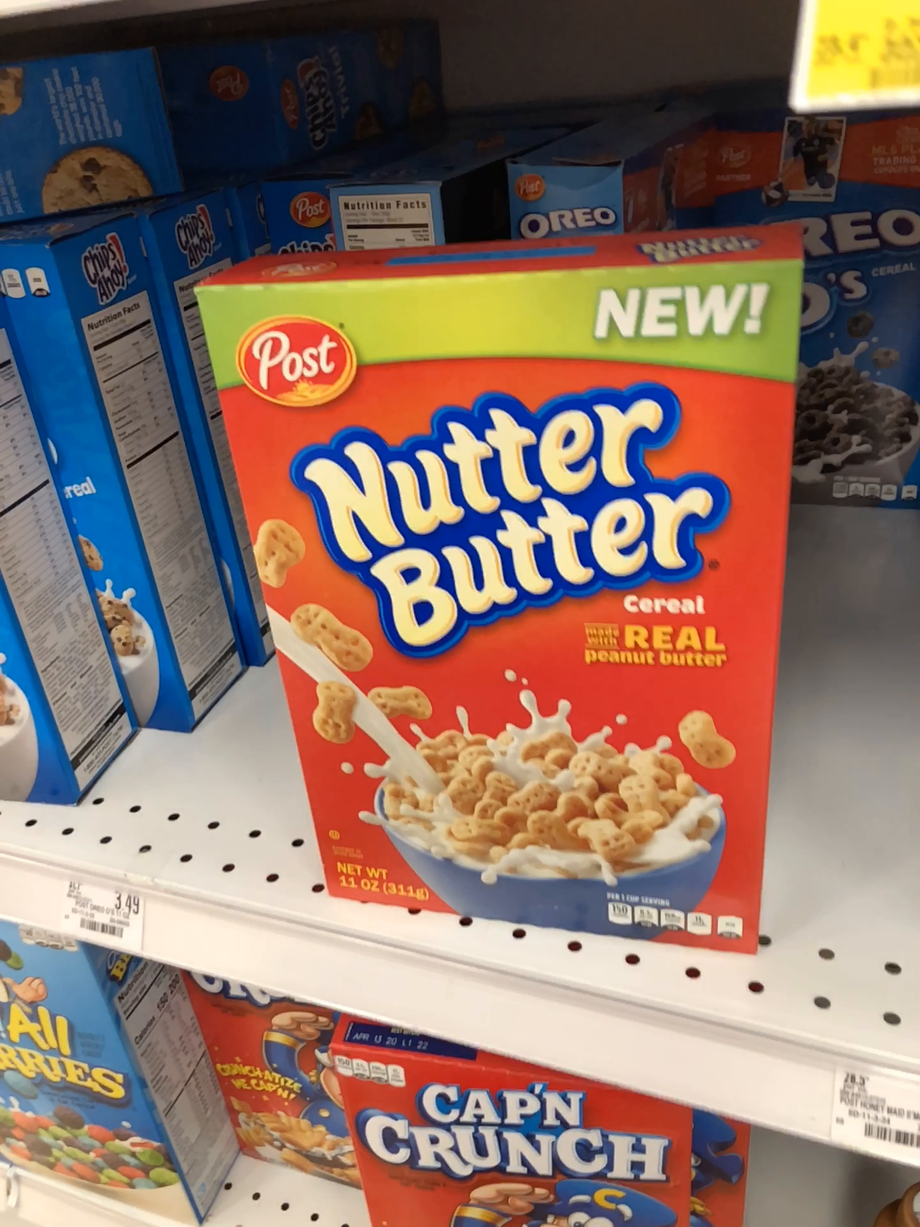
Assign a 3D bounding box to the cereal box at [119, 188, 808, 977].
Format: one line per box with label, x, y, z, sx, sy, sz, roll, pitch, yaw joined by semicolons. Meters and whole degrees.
cereal box;0.015;-0.001;0.378;0.200;0.269;0.070;3;31;17
